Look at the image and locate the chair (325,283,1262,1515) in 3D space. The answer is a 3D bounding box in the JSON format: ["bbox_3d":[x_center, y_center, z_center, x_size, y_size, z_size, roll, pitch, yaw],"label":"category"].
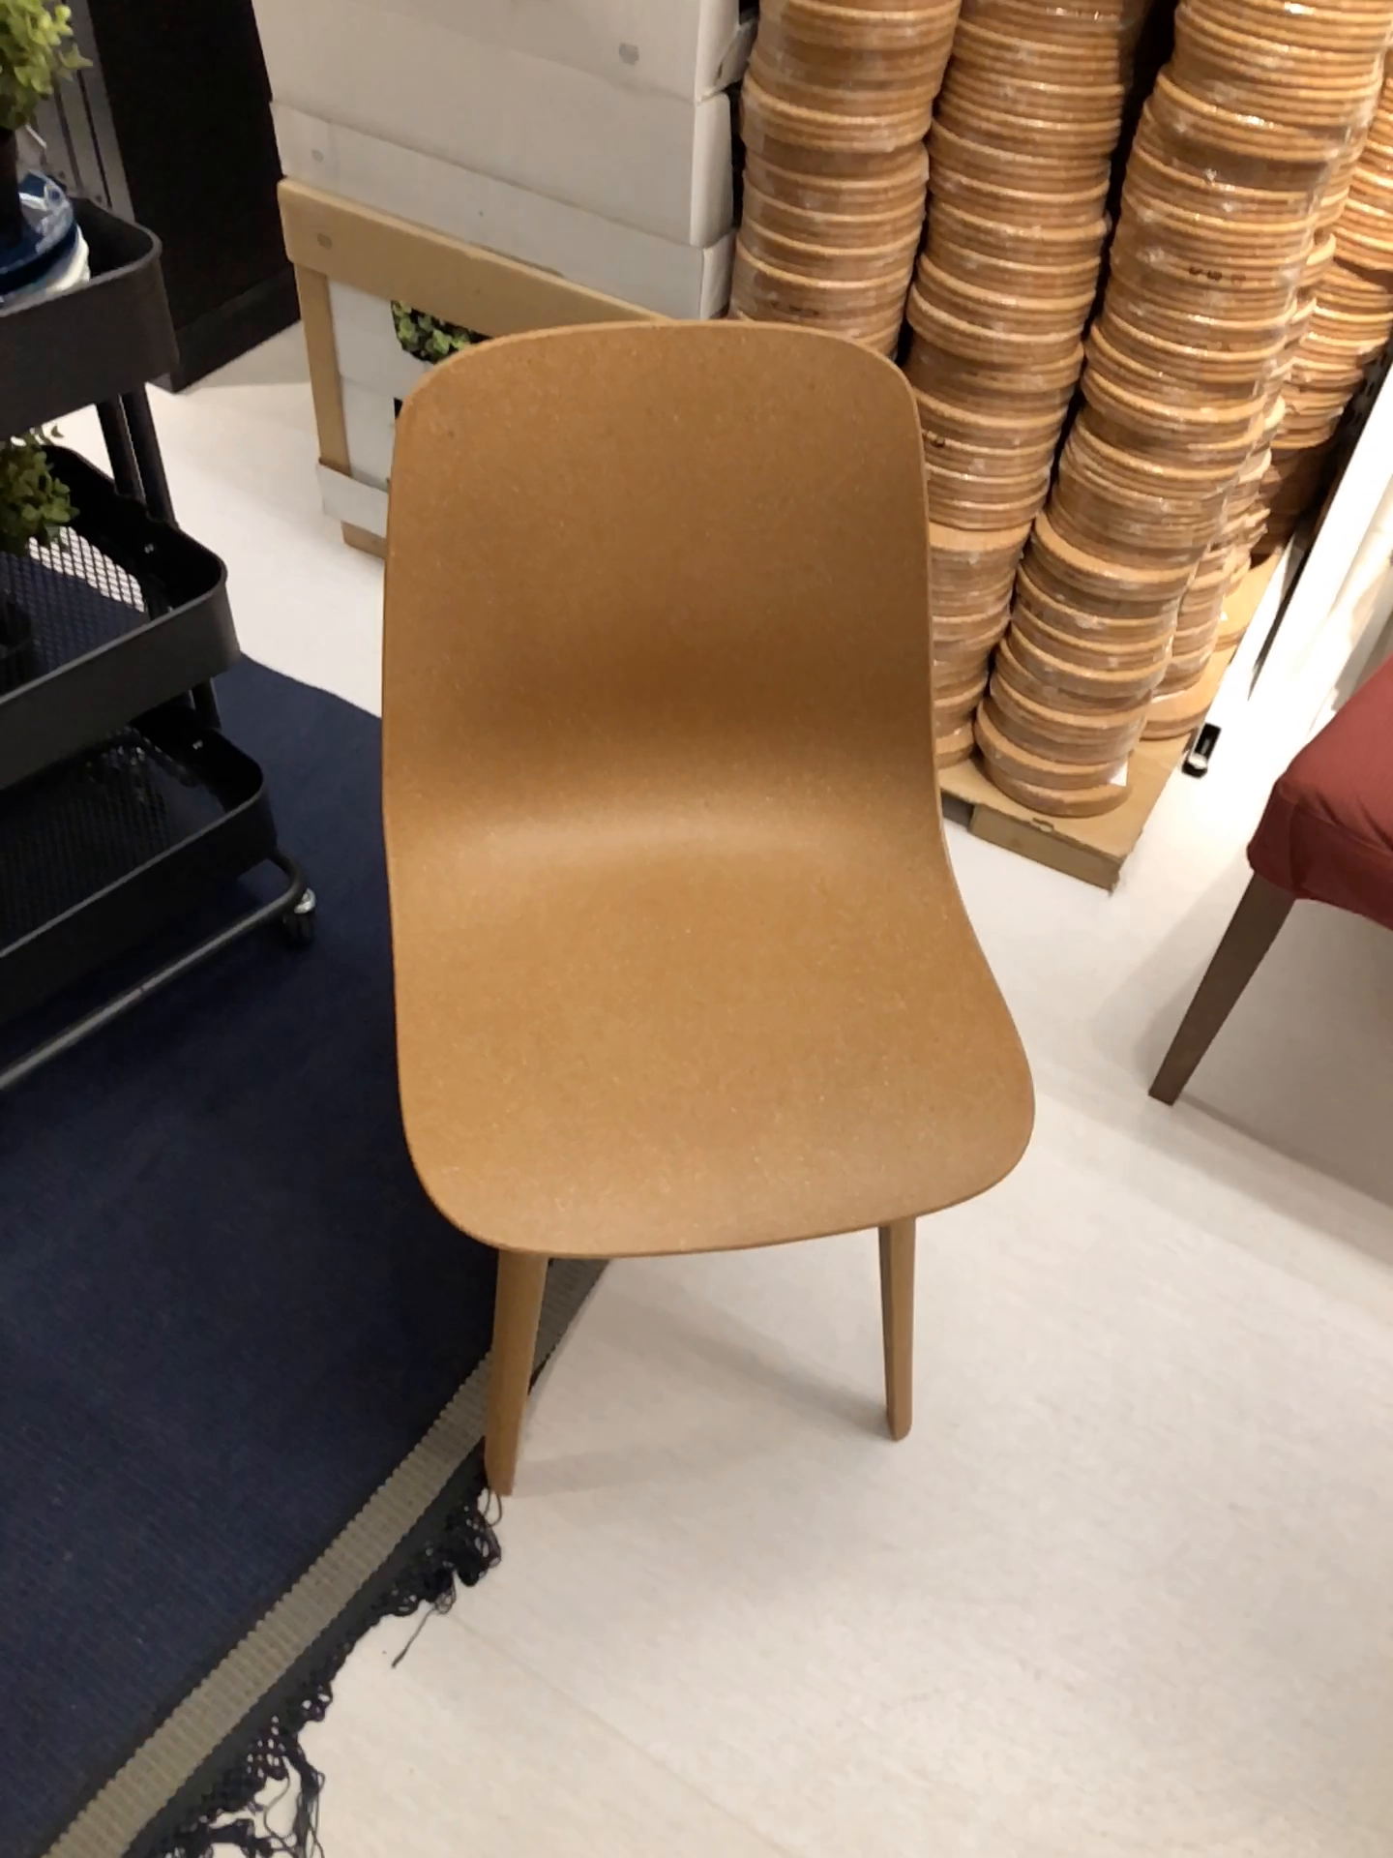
[{"bbox_3d":[-0.007,0.009,1.170,0.440,0.746,0.553,-5,51,-8],"label":"chair"}]
